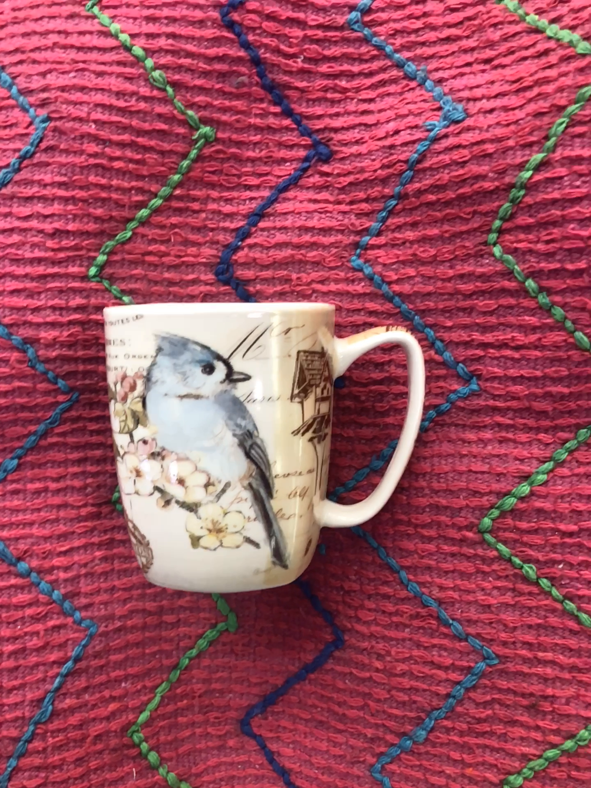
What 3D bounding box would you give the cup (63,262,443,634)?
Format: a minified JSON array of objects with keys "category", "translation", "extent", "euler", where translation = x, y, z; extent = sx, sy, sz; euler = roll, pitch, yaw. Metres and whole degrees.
[{"category":"cup","translation":[-0.012,0.013,0.235],"extent":[0.110,0.070,0.110],"euler":[0,98,-3]}]
